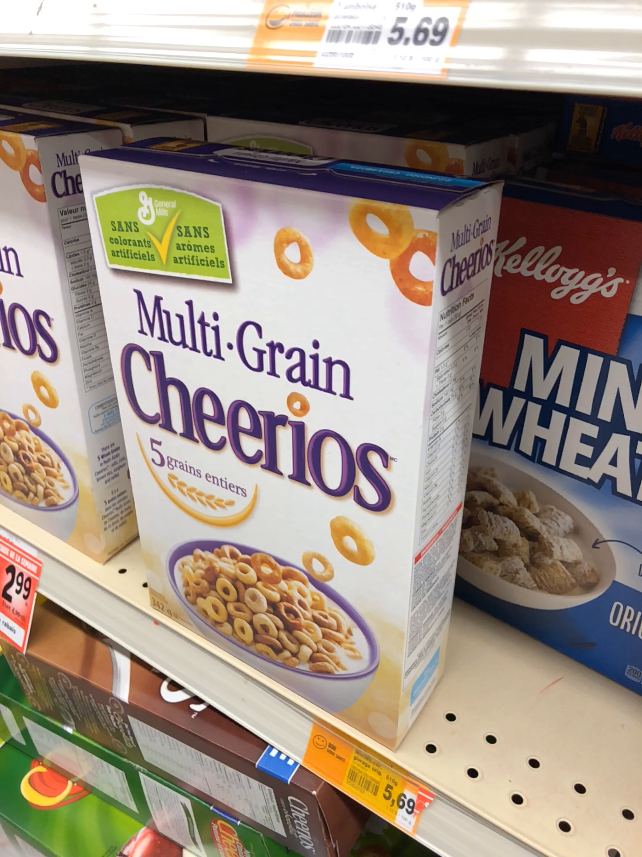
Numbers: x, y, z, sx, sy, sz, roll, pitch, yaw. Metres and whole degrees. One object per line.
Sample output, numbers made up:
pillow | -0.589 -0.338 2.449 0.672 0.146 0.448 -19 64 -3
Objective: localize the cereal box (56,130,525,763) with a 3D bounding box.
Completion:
cereal box | -0.023 0.009 0.366 0.201 0.278 0.060 20 36 30
